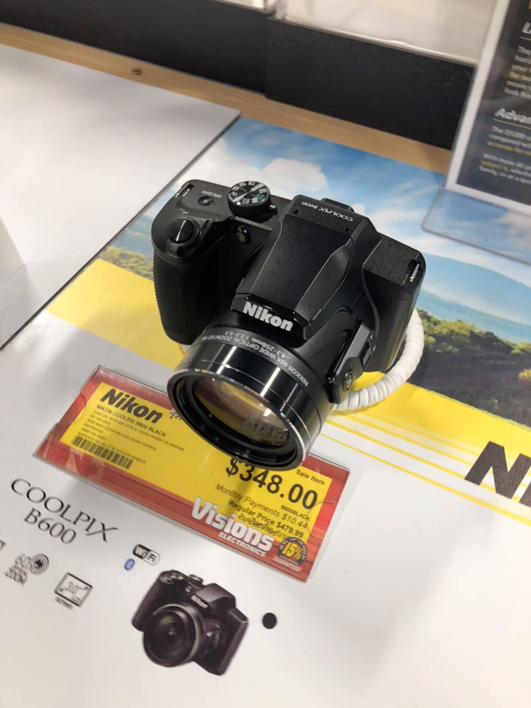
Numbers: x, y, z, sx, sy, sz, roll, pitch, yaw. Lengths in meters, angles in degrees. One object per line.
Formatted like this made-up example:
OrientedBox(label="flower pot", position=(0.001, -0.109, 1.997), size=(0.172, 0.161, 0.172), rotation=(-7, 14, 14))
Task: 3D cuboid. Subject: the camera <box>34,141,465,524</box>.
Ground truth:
OrientedBox(label="camera", position=(-0.002, -0.017, 0.255), size=(0.130, 0.070, 0.111), rotation=(23, 54, 17))
